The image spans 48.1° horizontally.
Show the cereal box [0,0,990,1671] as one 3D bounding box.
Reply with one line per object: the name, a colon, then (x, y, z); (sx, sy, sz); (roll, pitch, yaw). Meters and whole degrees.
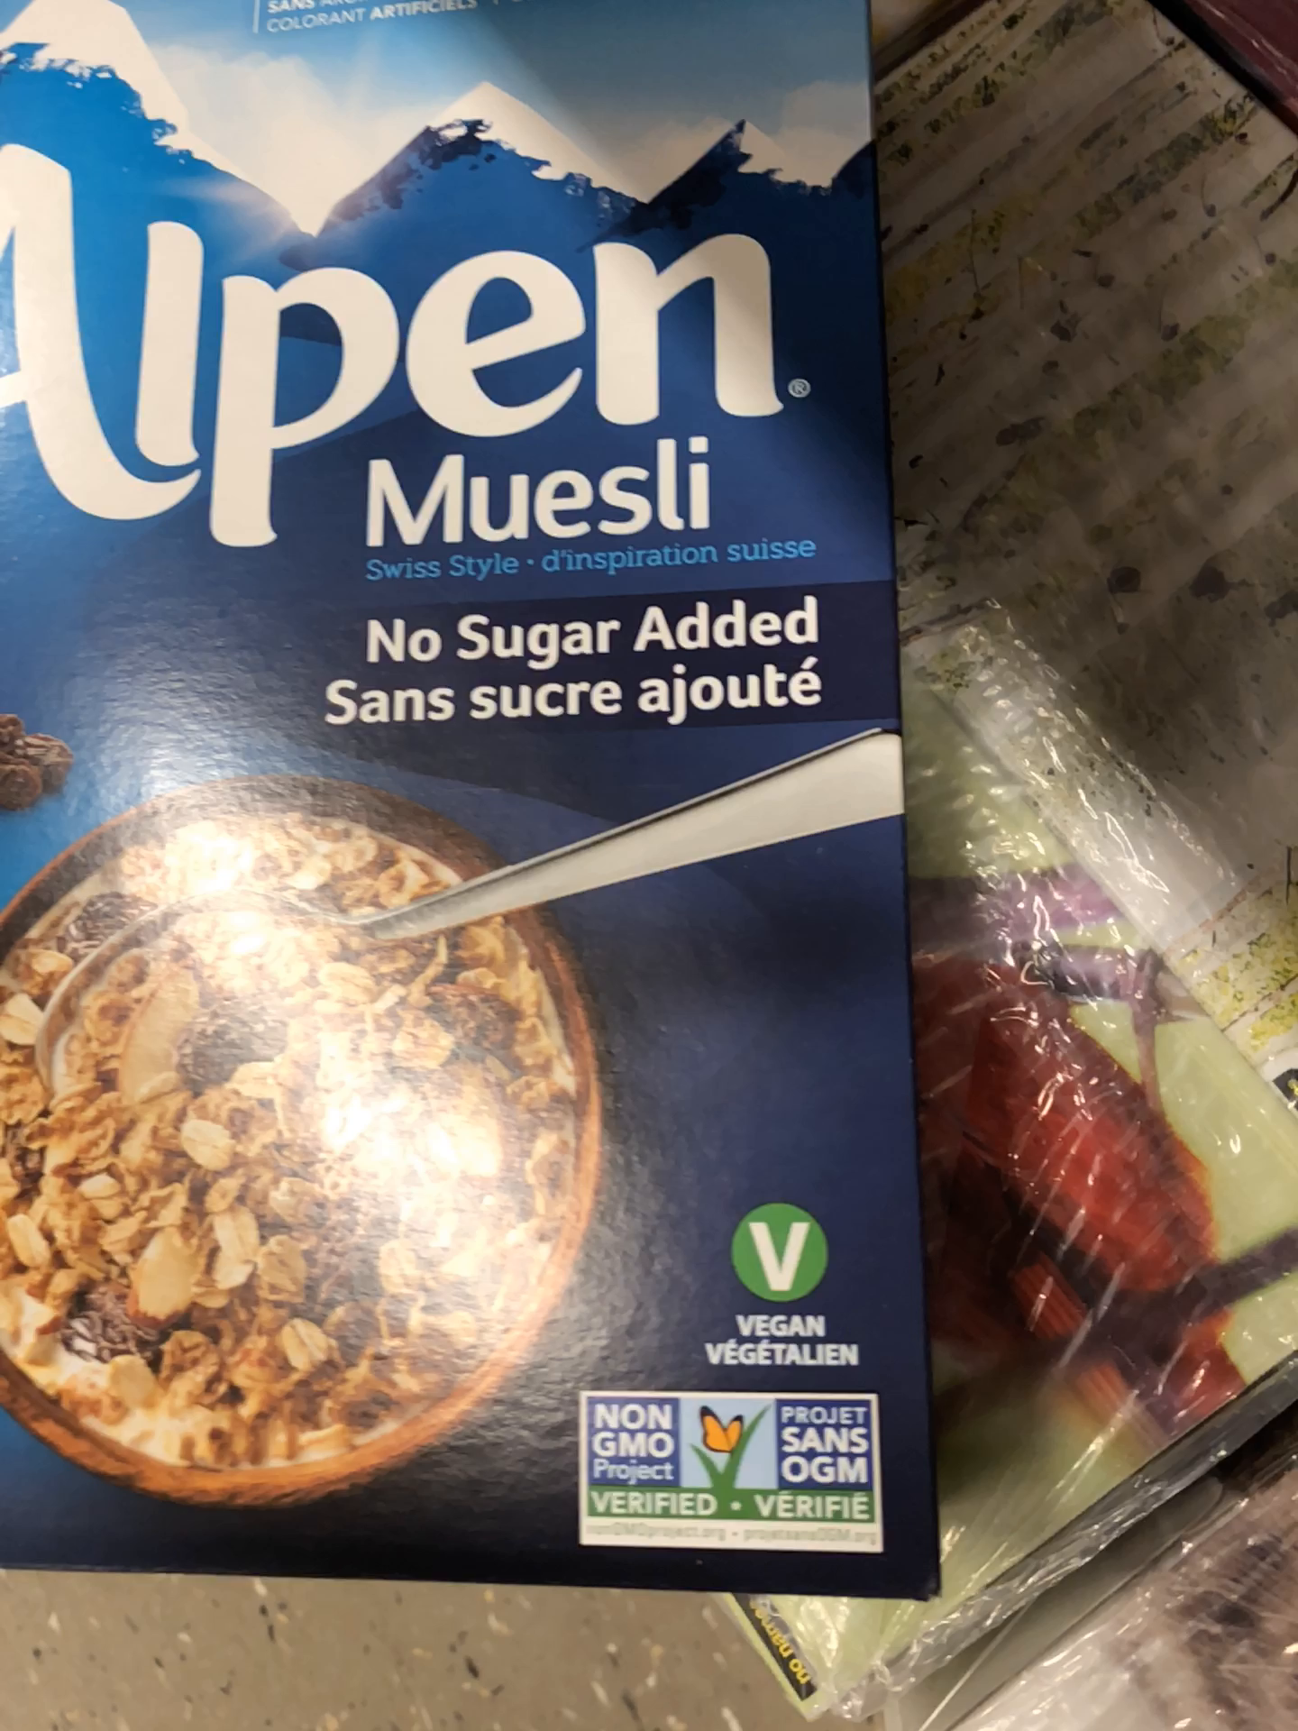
cereal box: (-0.060, -0.027, 0.220); (0.200, 0.050, 0.250); (-2, 79, 8)
